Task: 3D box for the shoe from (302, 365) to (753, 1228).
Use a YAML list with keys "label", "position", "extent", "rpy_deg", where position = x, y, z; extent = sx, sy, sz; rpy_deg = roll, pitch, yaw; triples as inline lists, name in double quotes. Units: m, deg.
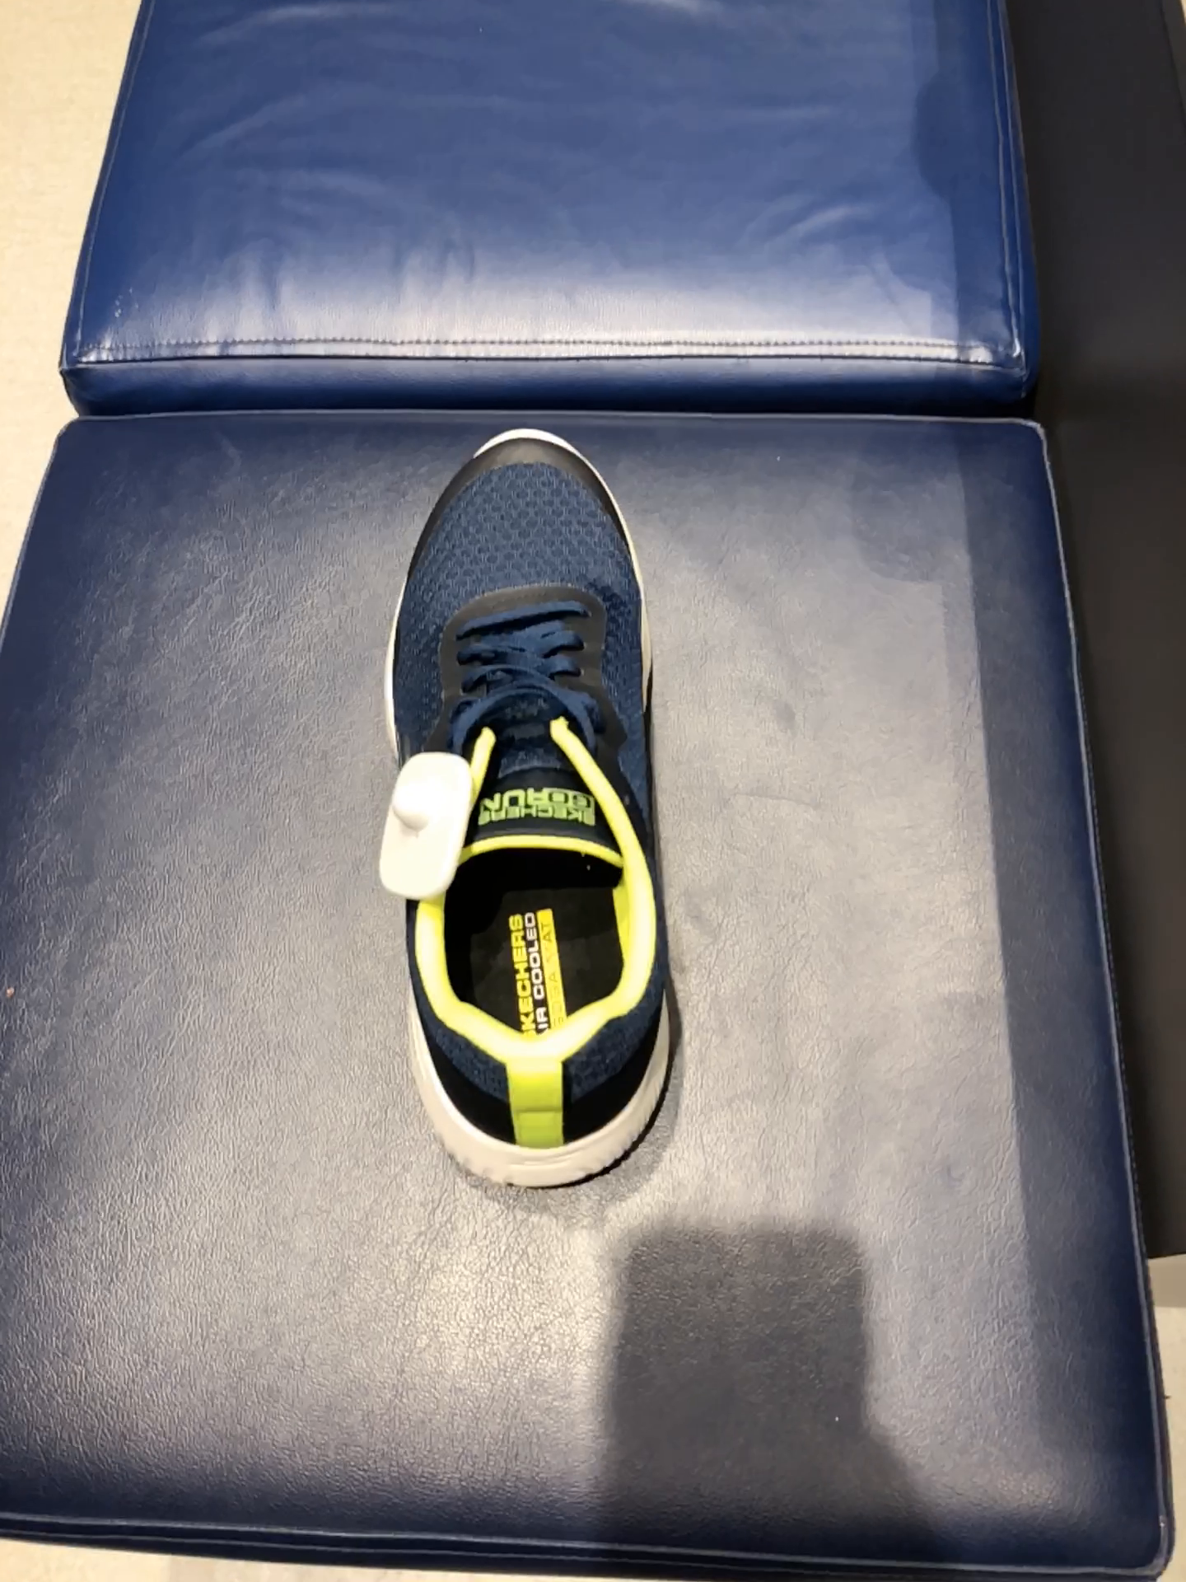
- label: "shoe"
  position: [-0.025, 0.006, 0.450]
  extent: [0.113, 0.132, 0.255]
  rpy_deg: [-7, 67, 0]
